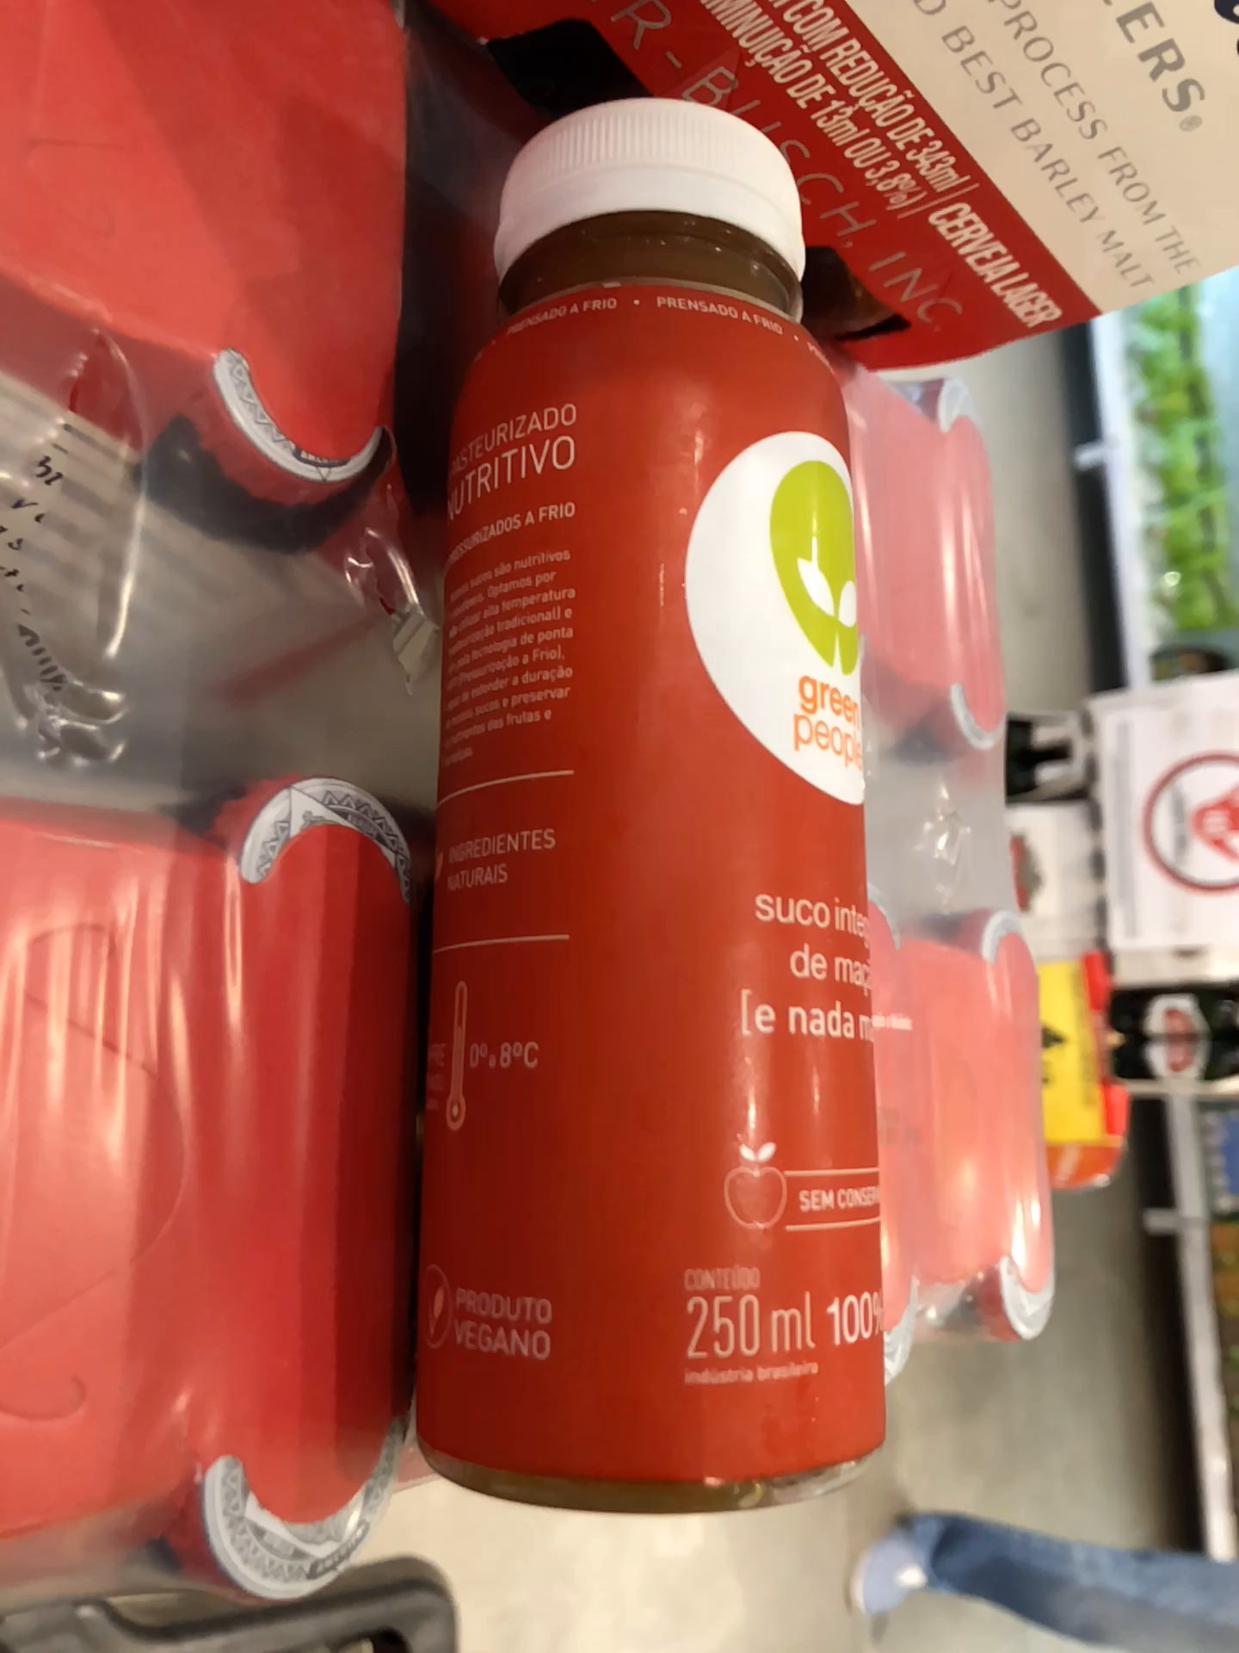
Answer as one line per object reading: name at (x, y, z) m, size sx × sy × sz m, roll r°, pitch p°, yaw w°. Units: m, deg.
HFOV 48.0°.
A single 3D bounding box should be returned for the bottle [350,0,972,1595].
bottle at (0.009, -0.016, 0.171) m, size 0.060 × 0.040 × 0.180 m, roll 15°, pitch 73°, yaw -49°
